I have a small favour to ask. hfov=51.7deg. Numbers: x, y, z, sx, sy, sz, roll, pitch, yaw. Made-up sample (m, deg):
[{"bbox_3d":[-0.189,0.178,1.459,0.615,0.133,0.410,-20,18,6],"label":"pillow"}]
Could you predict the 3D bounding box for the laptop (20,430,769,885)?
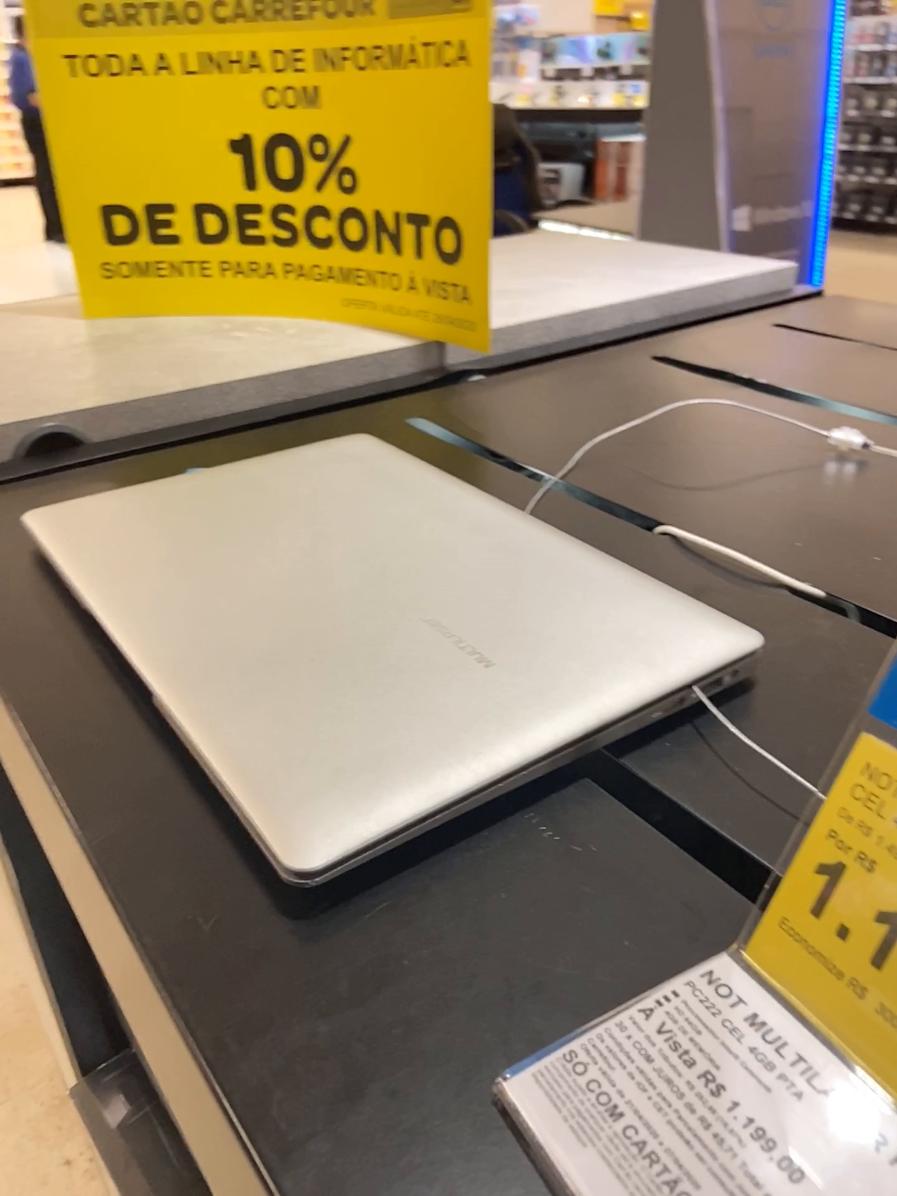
[{"bbox_3d":[-0.050,-0.013,0.423,0.205,0.003,0.315,-21,34,-30],"label":"laptop"}]
